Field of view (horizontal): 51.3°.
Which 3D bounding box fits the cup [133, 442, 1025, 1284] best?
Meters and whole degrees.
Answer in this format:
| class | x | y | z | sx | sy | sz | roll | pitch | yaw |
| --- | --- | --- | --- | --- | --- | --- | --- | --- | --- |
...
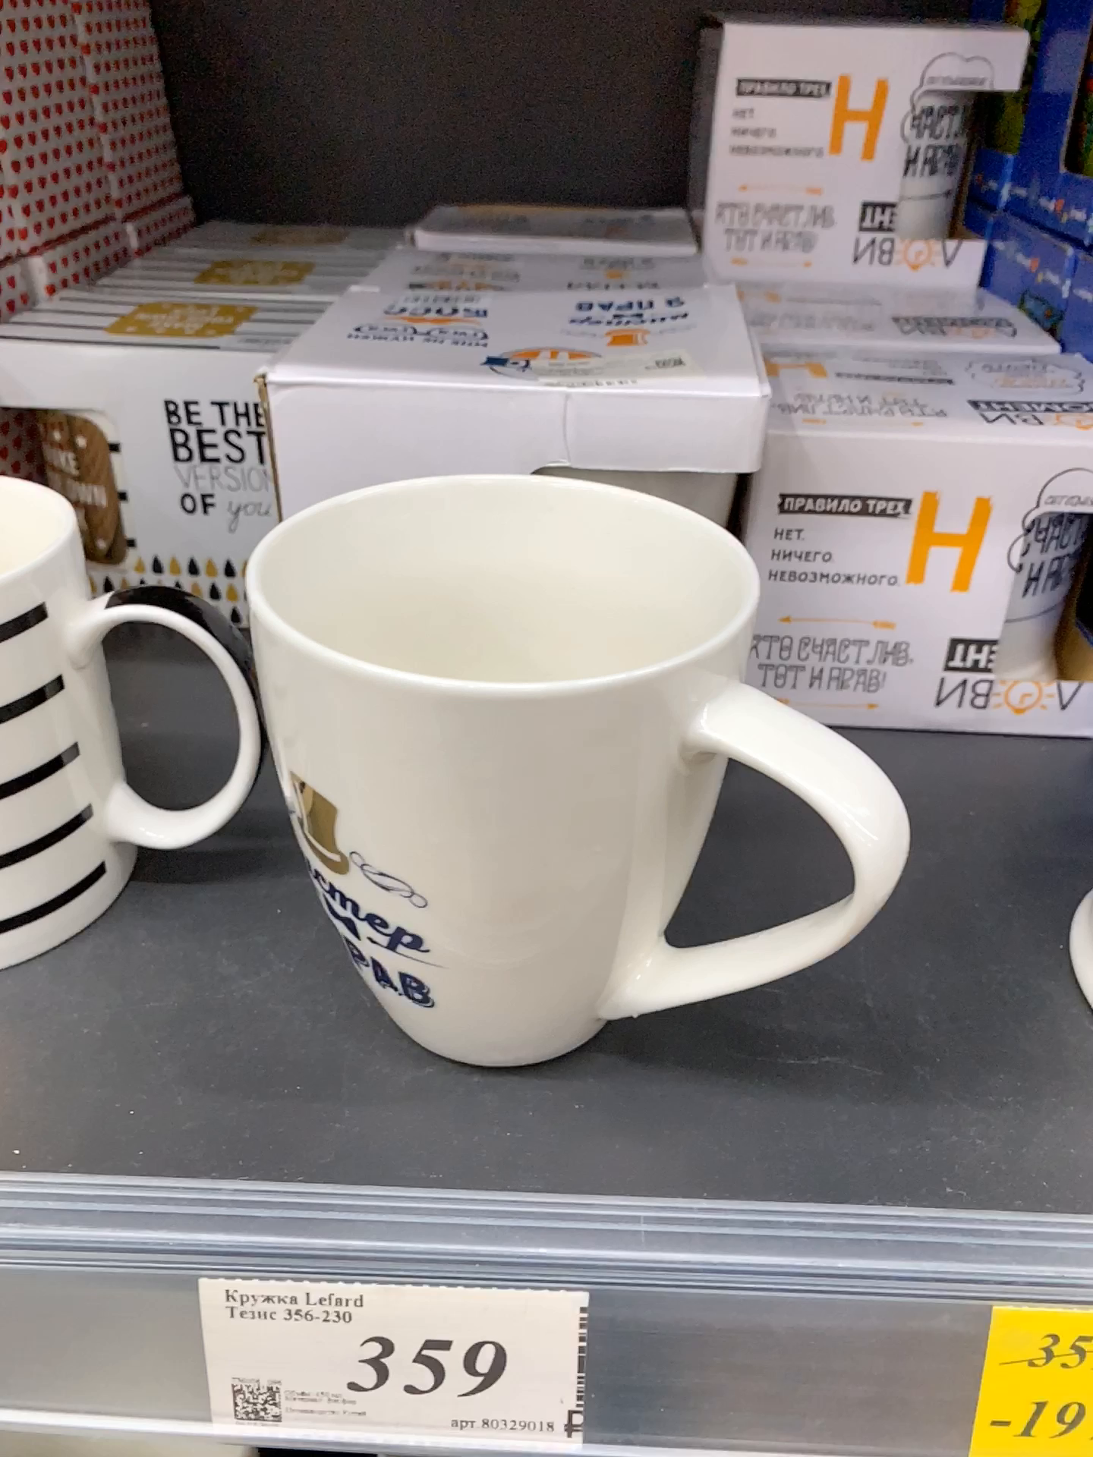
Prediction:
| class | x | y | z | sx | sy | sz | roll | pitch | yaw |
| --- | --- | --- | --- | --- | --- | --- | --- | --- | --- |
| cup | 0.005 | 0.012 | 0.230 | 0.132 | 0.093 | 0.093 | 21 | 37 | 29 |
